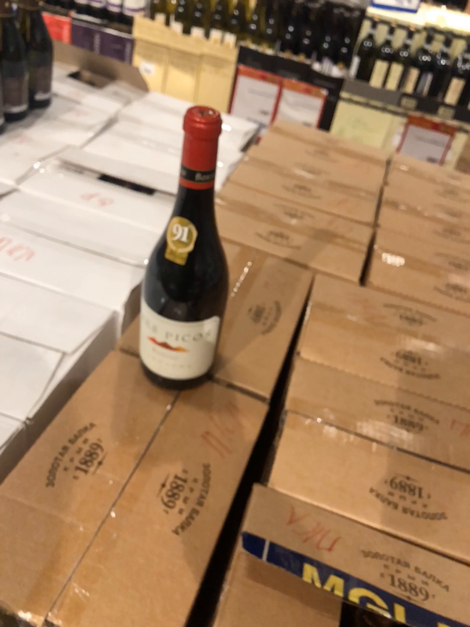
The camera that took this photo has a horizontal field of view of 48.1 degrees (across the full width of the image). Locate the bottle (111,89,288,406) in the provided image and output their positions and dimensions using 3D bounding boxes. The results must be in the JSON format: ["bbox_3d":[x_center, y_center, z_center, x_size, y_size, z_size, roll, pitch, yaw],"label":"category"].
[{"bbox_3d":[-0.043,-0.052,0.504,0.100,0.268,0.101,8,39,-7],"label":"bottle"}]
